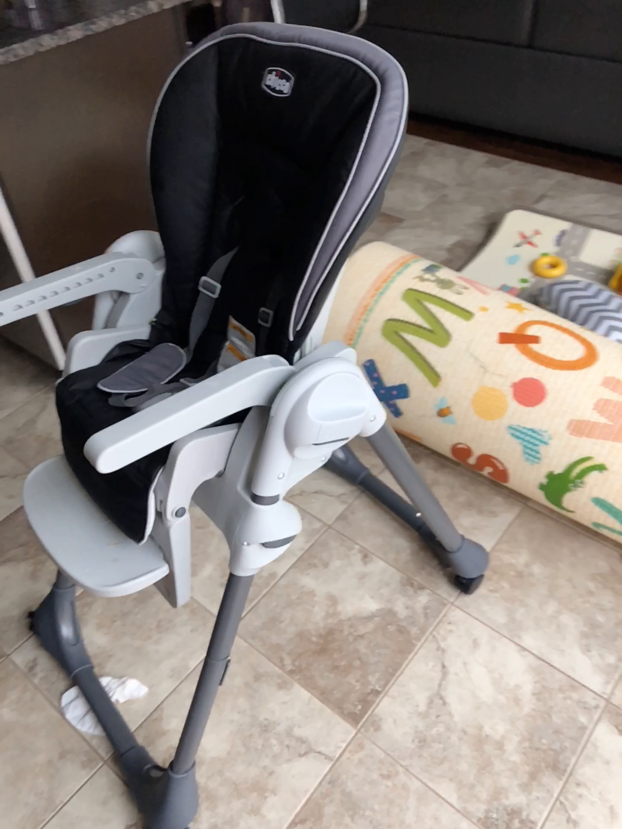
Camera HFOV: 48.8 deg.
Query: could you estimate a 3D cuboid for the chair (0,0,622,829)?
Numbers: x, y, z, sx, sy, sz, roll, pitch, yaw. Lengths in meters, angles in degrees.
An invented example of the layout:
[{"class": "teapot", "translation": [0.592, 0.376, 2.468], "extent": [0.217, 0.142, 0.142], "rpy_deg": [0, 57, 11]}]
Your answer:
[{"class": "chair", "translation": [-0.149, 0.013, 1.119], "extent": [0.881, 0.996, 0.652], "rpy_deg": [-32, 49, -25]}]
